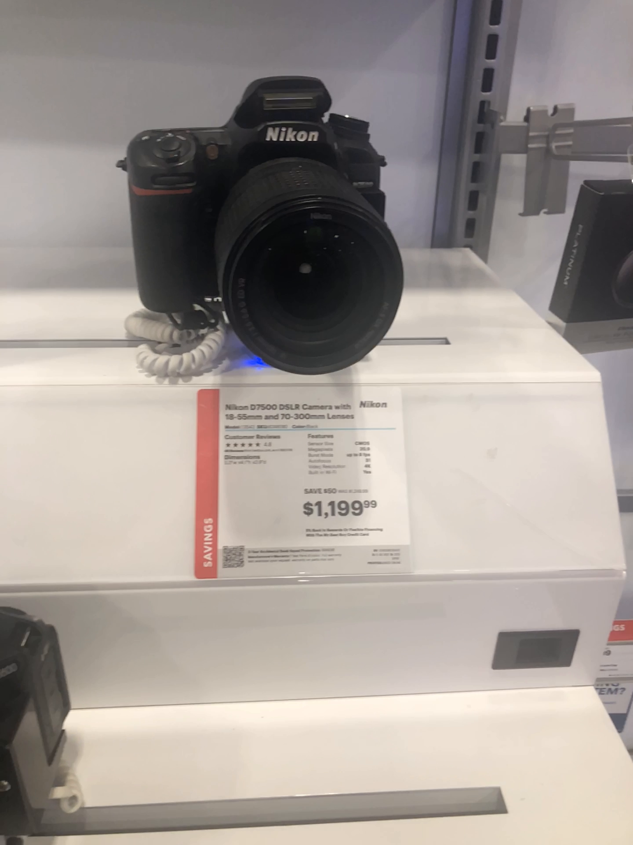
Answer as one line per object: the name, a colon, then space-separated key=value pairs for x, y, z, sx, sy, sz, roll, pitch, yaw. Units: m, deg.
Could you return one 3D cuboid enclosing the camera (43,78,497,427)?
camera: x=-0.027 y=-0.098 z=0.342 sx=0.150 sy=0.119 sz=0.191 roll=-2 pitch=27 yaw=-8
